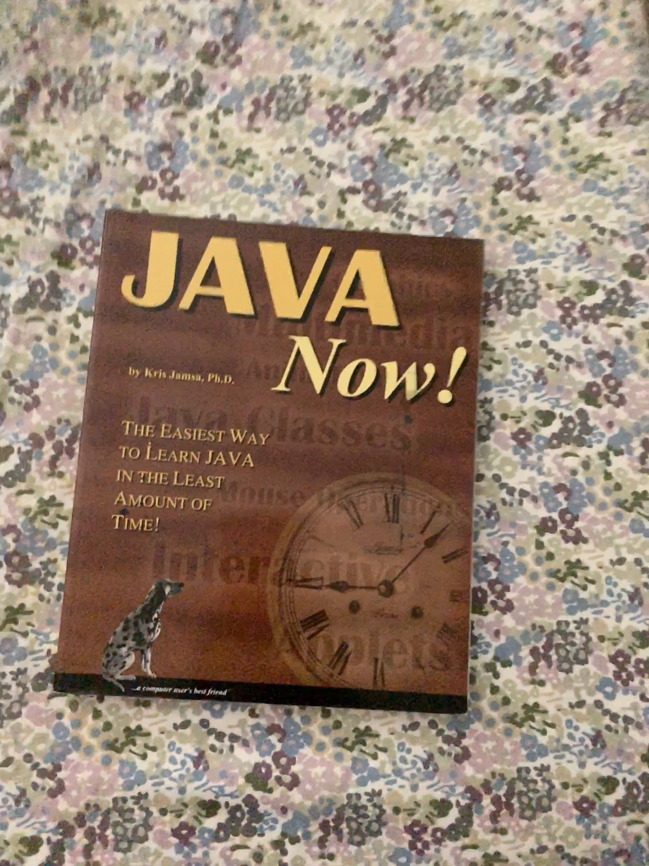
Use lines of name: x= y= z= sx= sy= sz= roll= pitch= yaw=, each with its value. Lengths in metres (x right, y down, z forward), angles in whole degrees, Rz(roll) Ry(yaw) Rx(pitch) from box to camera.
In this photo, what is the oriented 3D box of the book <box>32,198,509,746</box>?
book: x=-0.021 y=0.018 z=0.350 sx=0.220 sy=0.030 sz=0.260 roll=4 pitch=84 yaw=-3
